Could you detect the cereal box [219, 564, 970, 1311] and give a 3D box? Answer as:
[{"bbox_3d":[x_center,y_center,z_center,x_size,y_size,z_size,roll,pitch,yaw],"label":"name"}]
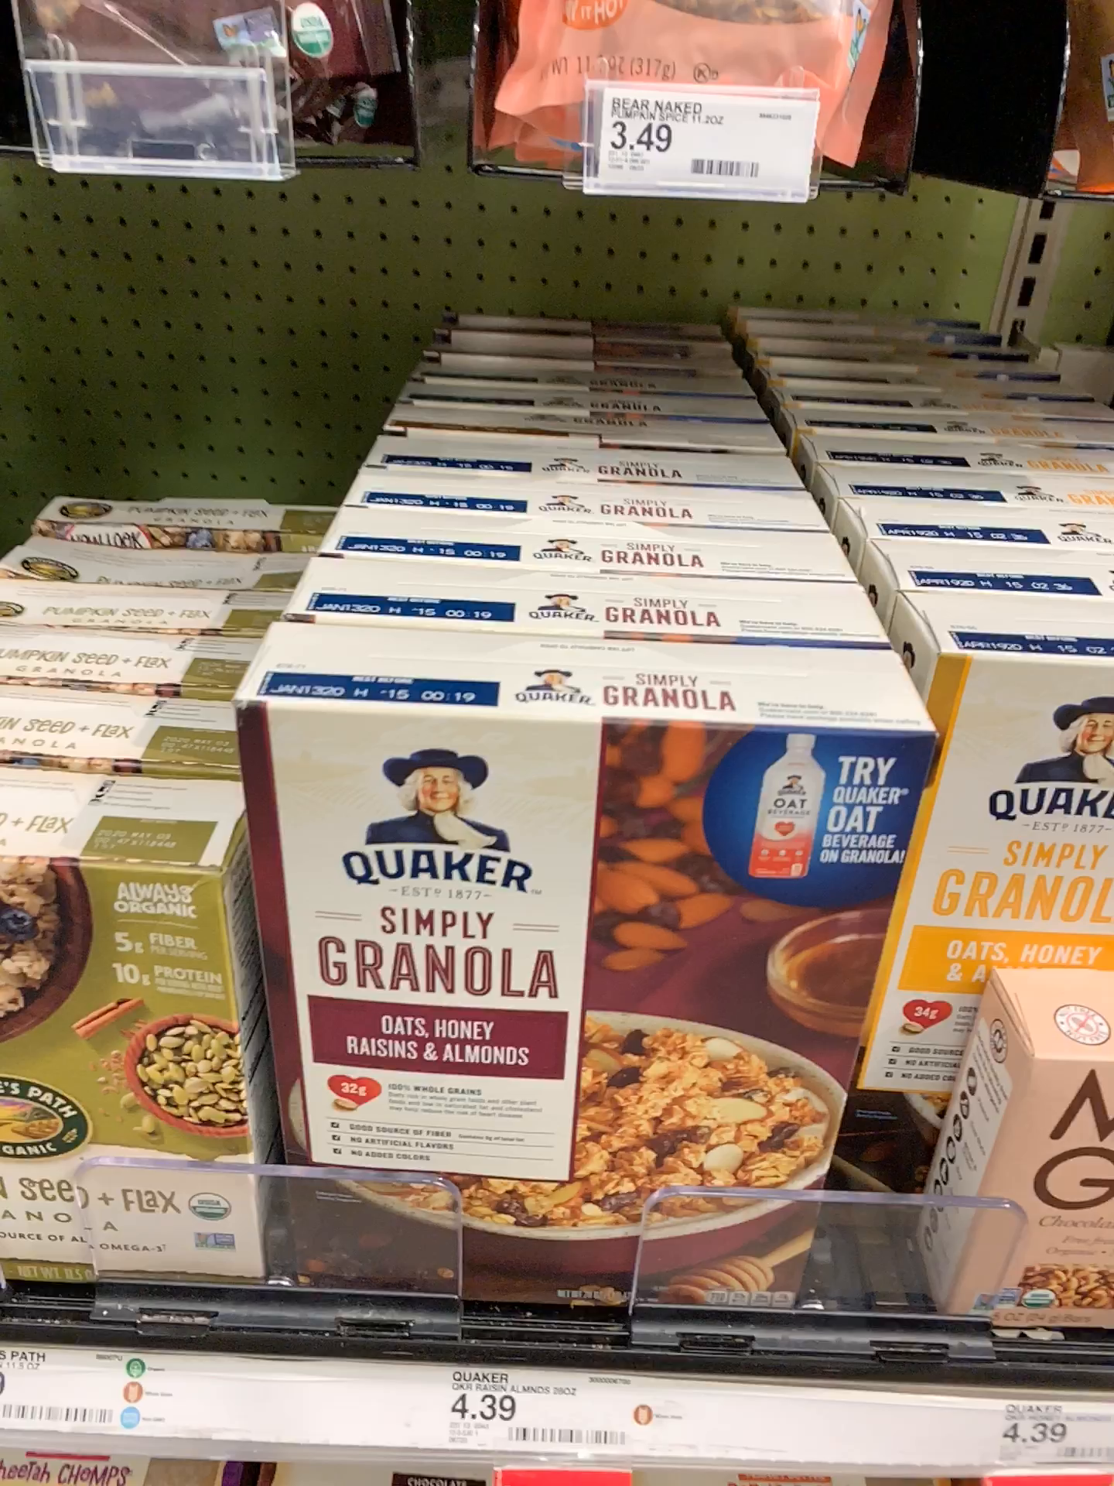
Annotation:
[{"bbox_3d":[0.003,0.075,0.364,0.180,0.249,0.060,3,32,-1],"label":"cereal box"}]
